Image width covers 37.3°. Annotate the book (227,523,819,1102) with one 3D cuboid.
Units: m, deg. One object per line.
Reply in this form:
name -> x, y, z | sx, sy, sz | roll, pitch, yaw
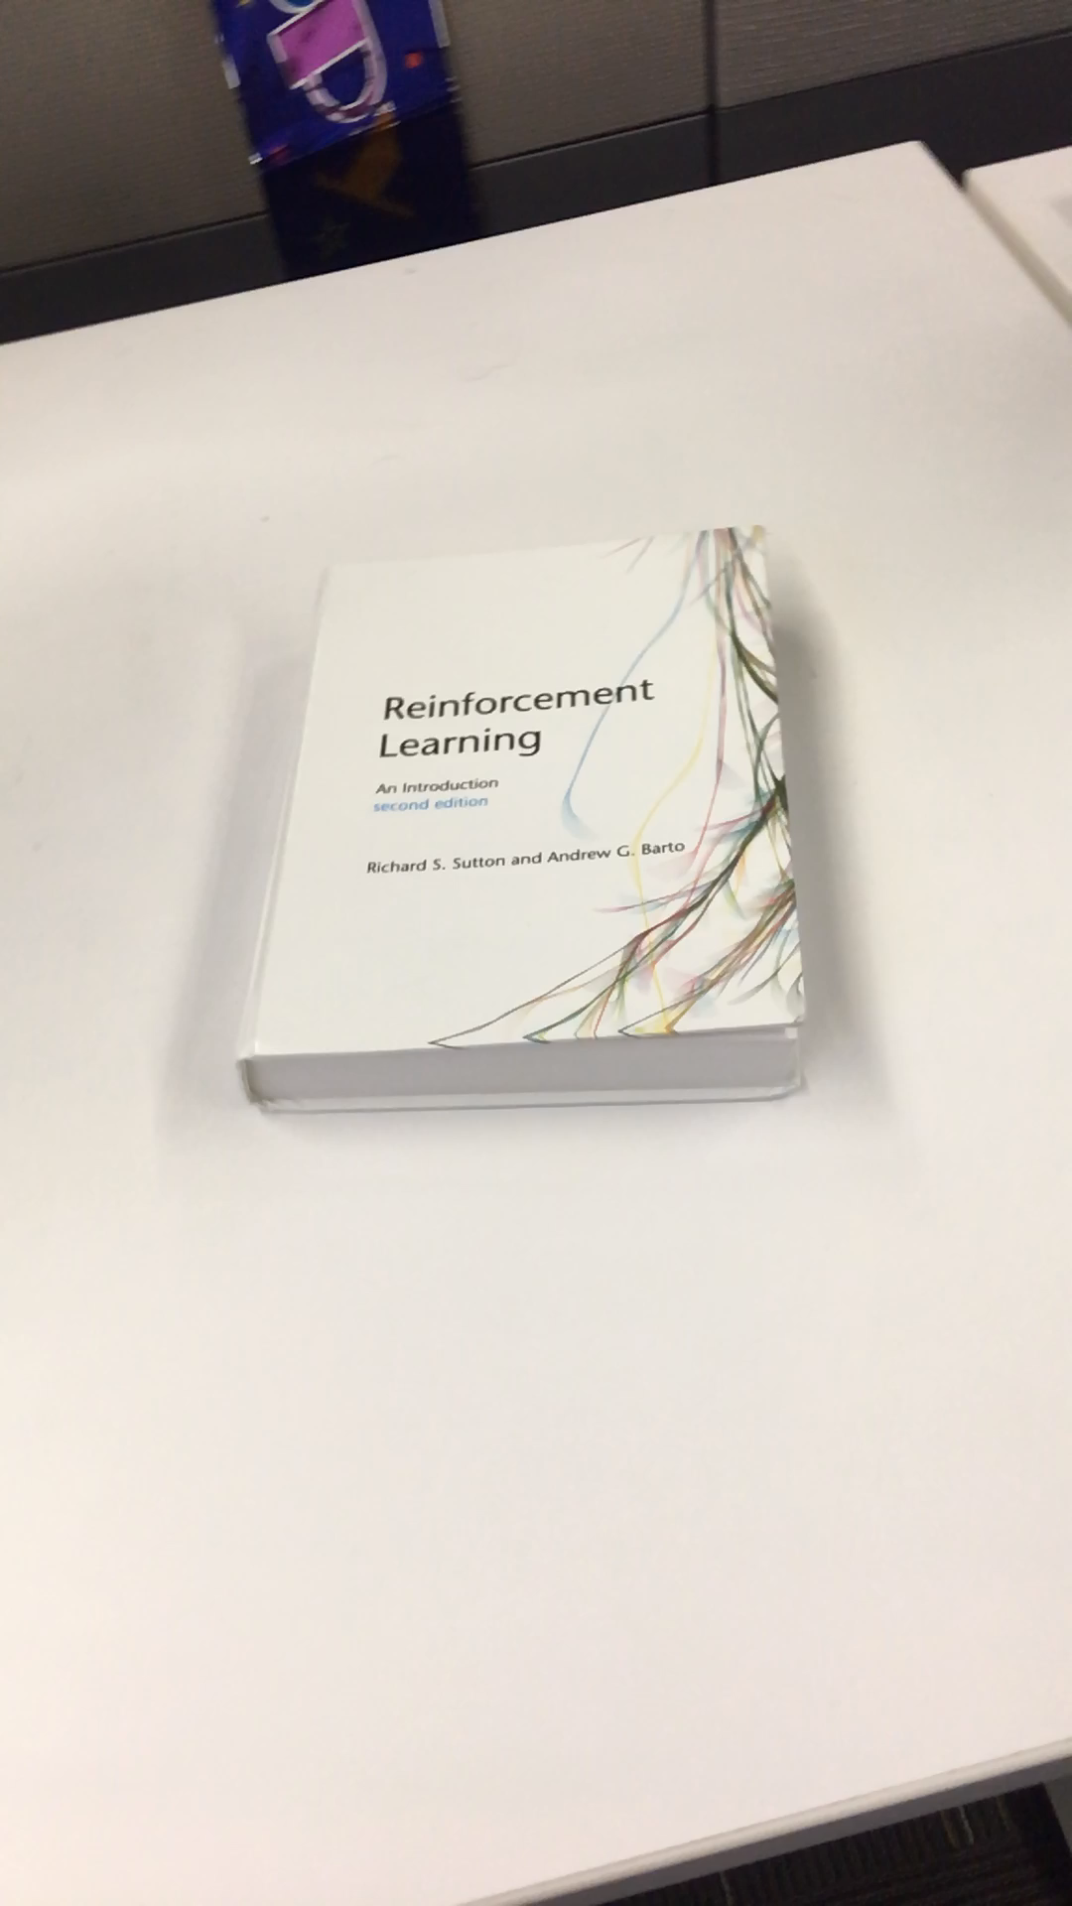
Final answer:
book -> 0.001, -0.059, 0.564 | 0.180, 0.030, 0.240 | -2, 53, 6
